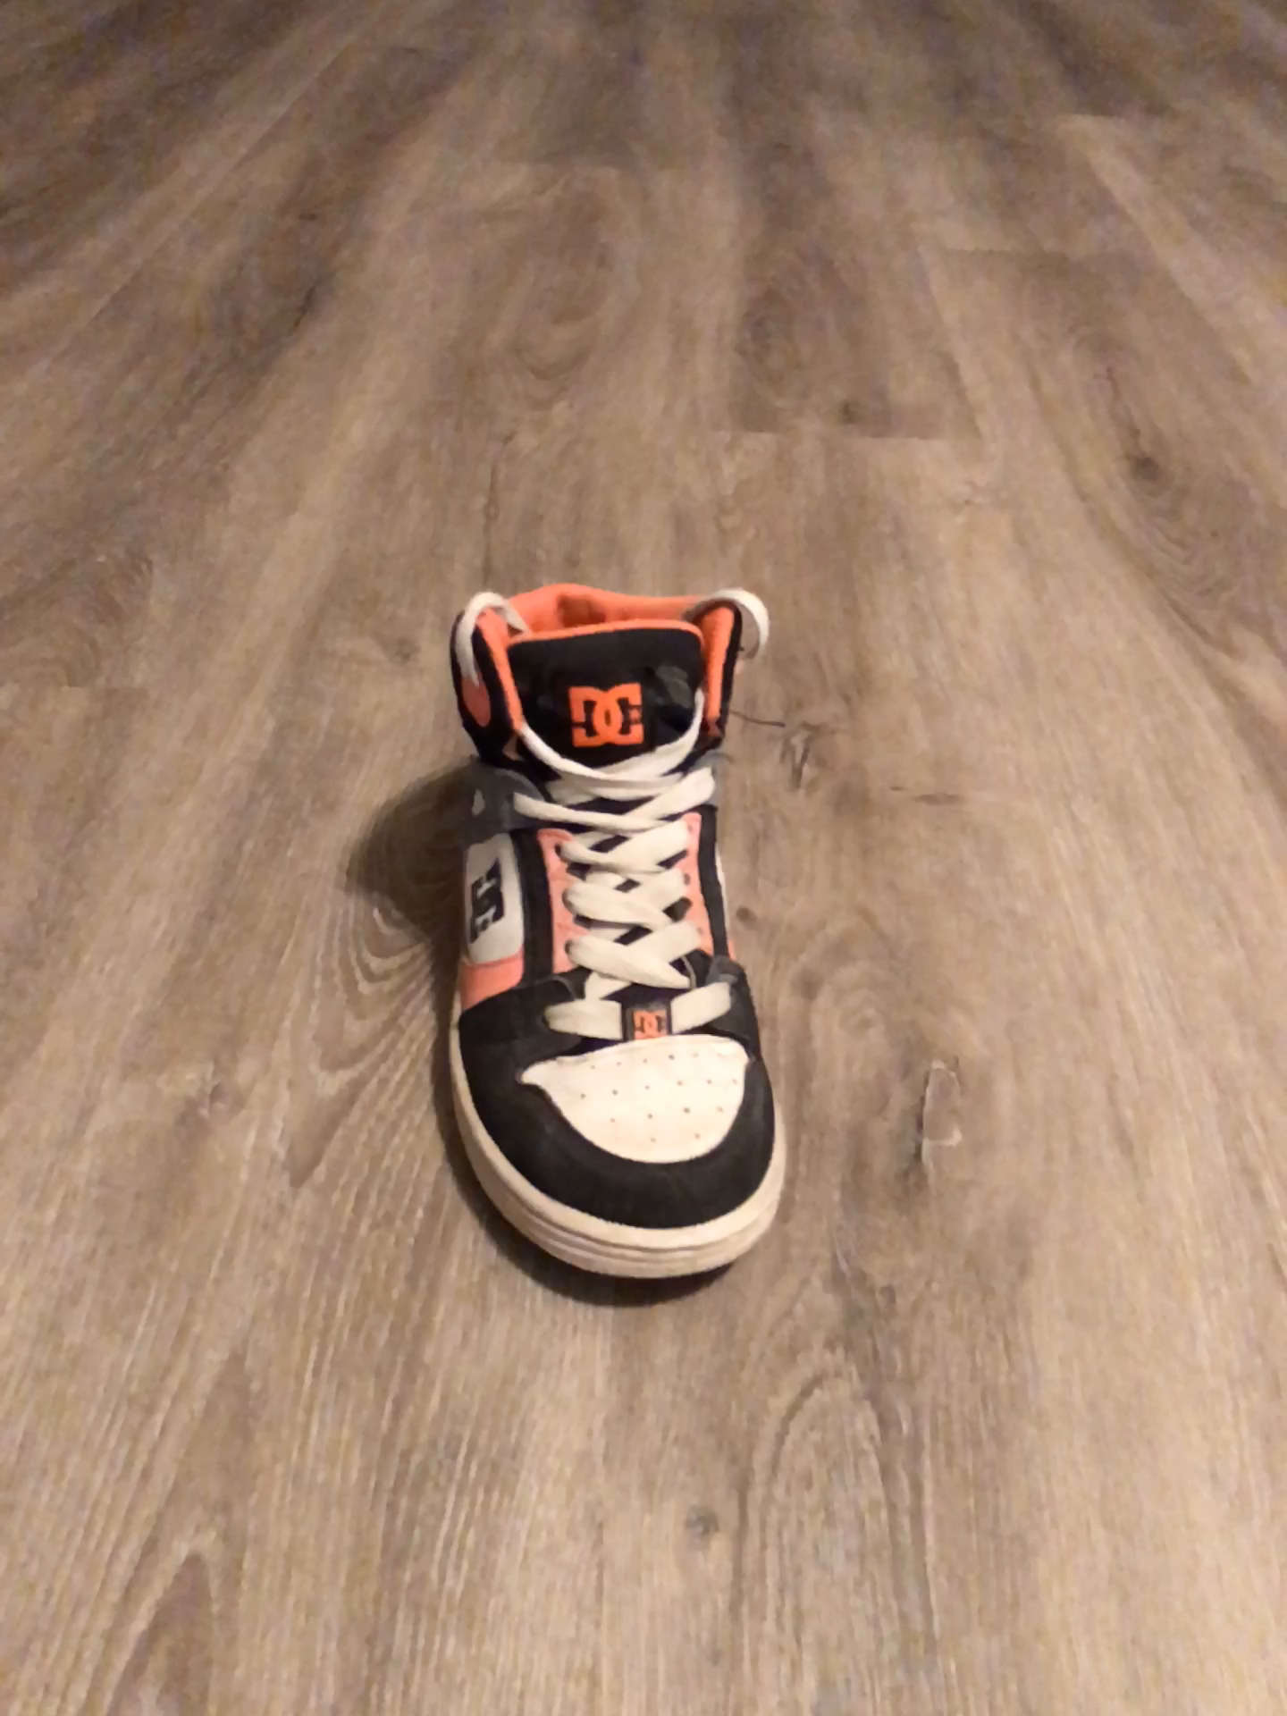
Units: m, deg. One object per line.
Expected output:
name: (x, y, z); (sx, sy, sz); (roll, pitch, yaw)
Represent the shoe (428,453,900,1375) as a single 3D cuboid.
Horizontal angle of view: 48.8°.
shoe: (-0.012, -0.001, 0.415); (0.090, 0.139, 0.241); (-3, 40, -7)
